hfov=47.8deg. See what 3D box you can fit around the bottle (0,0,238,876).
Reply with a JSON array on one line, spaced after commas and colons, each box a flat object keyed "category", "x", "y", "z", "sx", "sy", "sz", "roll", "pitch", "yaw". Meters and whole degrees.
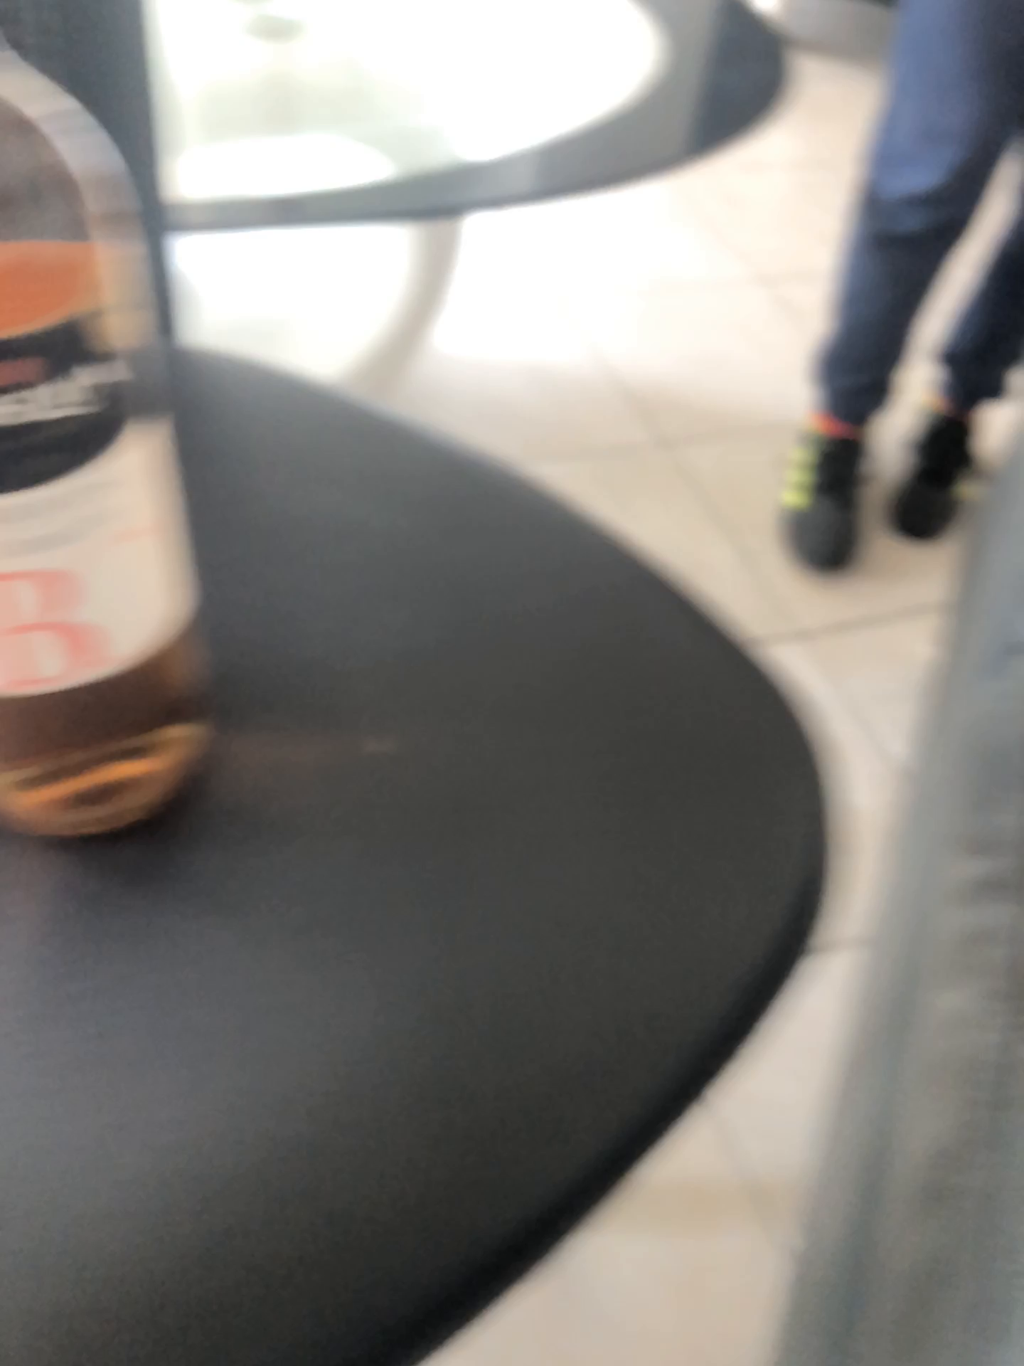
[{"category": "bottle", "x": -0.118, "y": -0.073, "z": 0.264, "sx": 0.080, "sy": 0.278, "sz": 0.080, "roll": 5, "pitch": 48, "yaw": -6}]
